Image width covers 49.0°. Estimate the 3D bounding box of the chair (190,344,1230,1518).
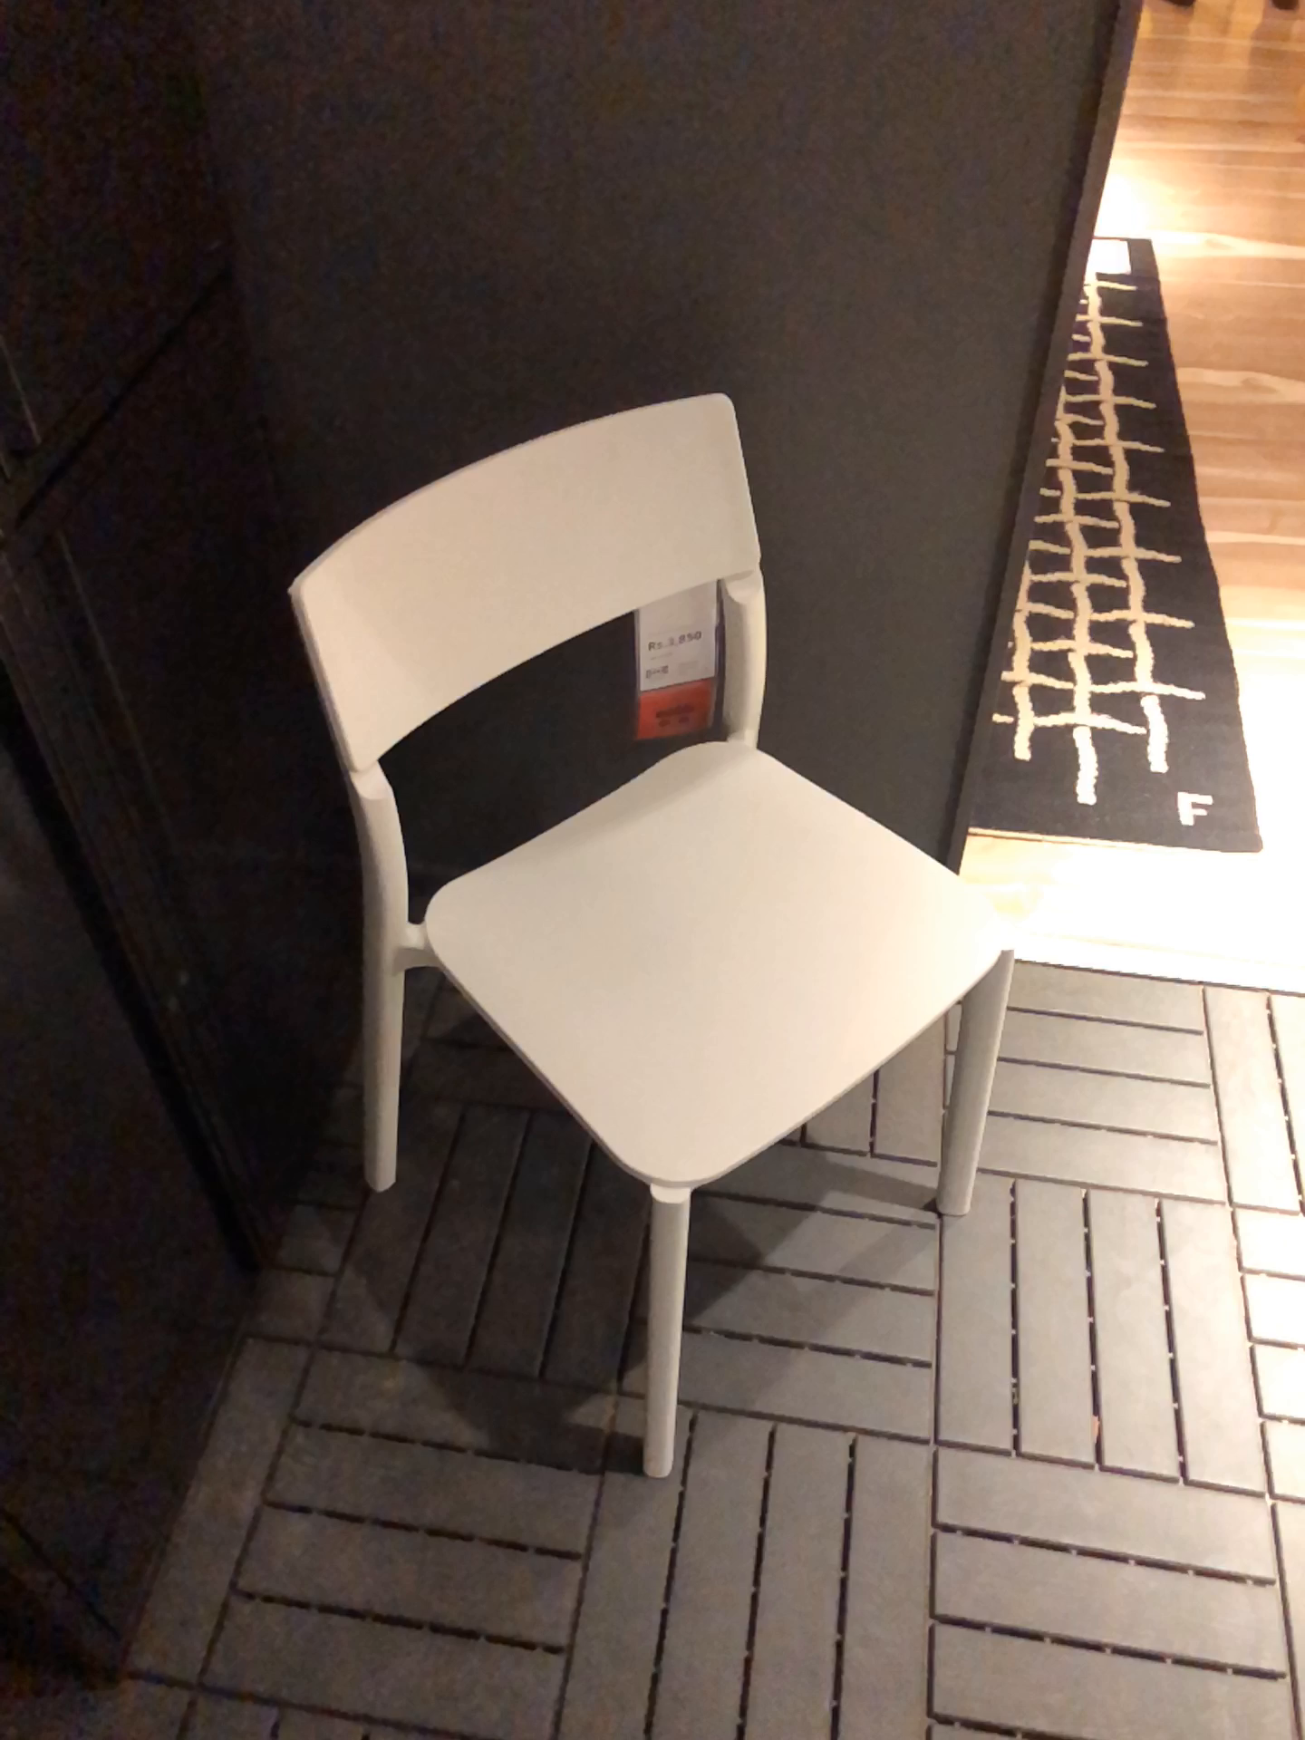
[{"bbox_3d":[0.034,0.057,1.198,0.501,0.705,0.472,-31,53,-27],"label":"chair"}]
